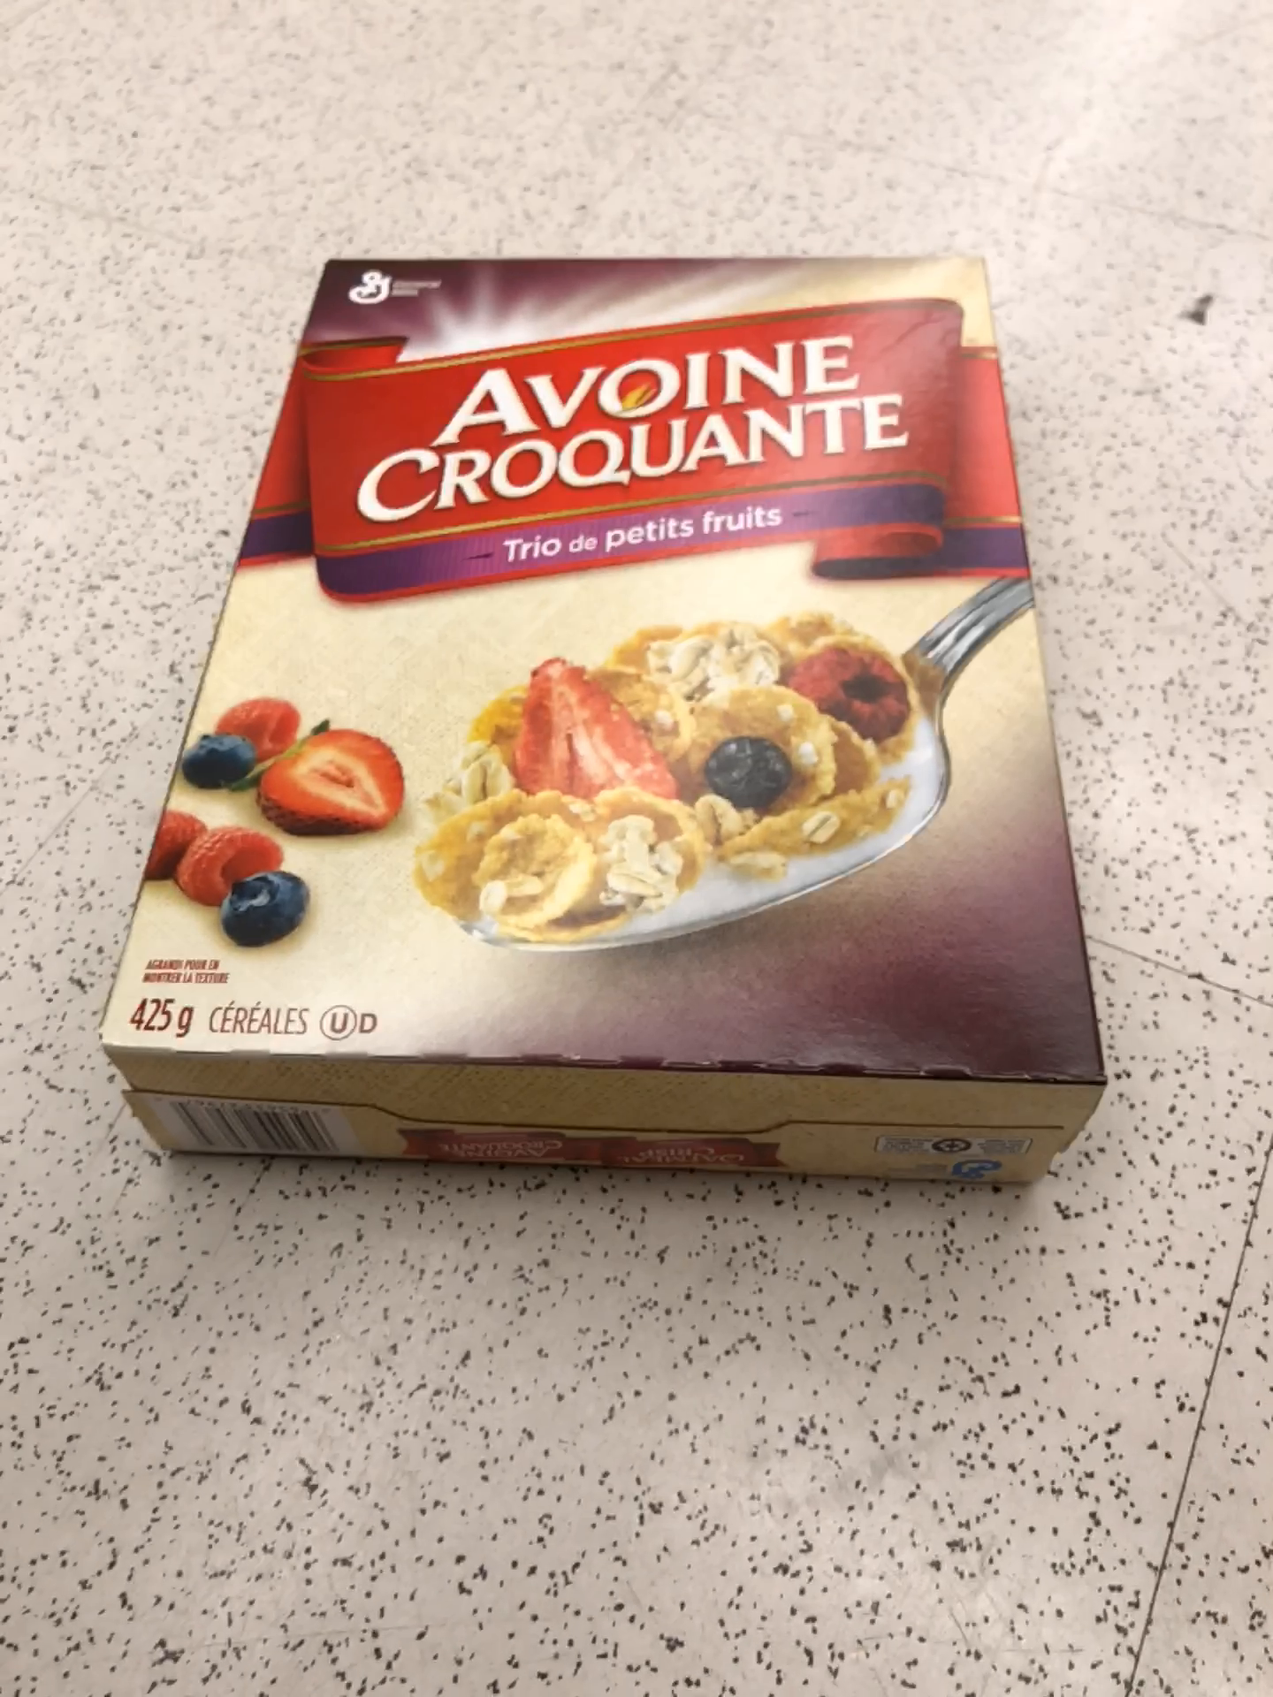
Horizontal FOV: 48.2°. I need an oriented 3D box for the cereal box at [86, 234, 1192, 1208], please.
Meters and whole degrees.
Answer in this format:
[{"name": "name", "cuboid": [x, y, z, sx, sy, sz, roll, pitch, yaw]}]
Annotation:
[{"name": "cereal box", "cuboid": [0.007, -0.053, 0.370, 0.210, 0.060, 0.271, 2, 56, 4]}]
